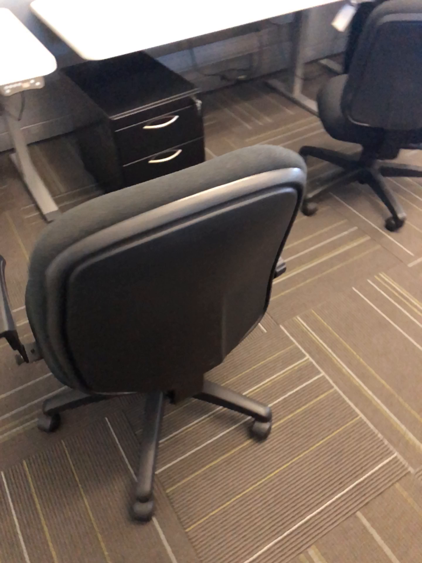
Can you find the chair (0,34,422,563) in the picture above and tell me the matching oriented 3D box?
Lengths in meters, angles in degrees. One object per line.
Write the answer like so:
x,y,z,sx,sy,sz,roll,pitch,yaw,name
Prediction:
-0.145,0.074,1.162,0.740,0.956,0.683,-25,50,-20,chair
